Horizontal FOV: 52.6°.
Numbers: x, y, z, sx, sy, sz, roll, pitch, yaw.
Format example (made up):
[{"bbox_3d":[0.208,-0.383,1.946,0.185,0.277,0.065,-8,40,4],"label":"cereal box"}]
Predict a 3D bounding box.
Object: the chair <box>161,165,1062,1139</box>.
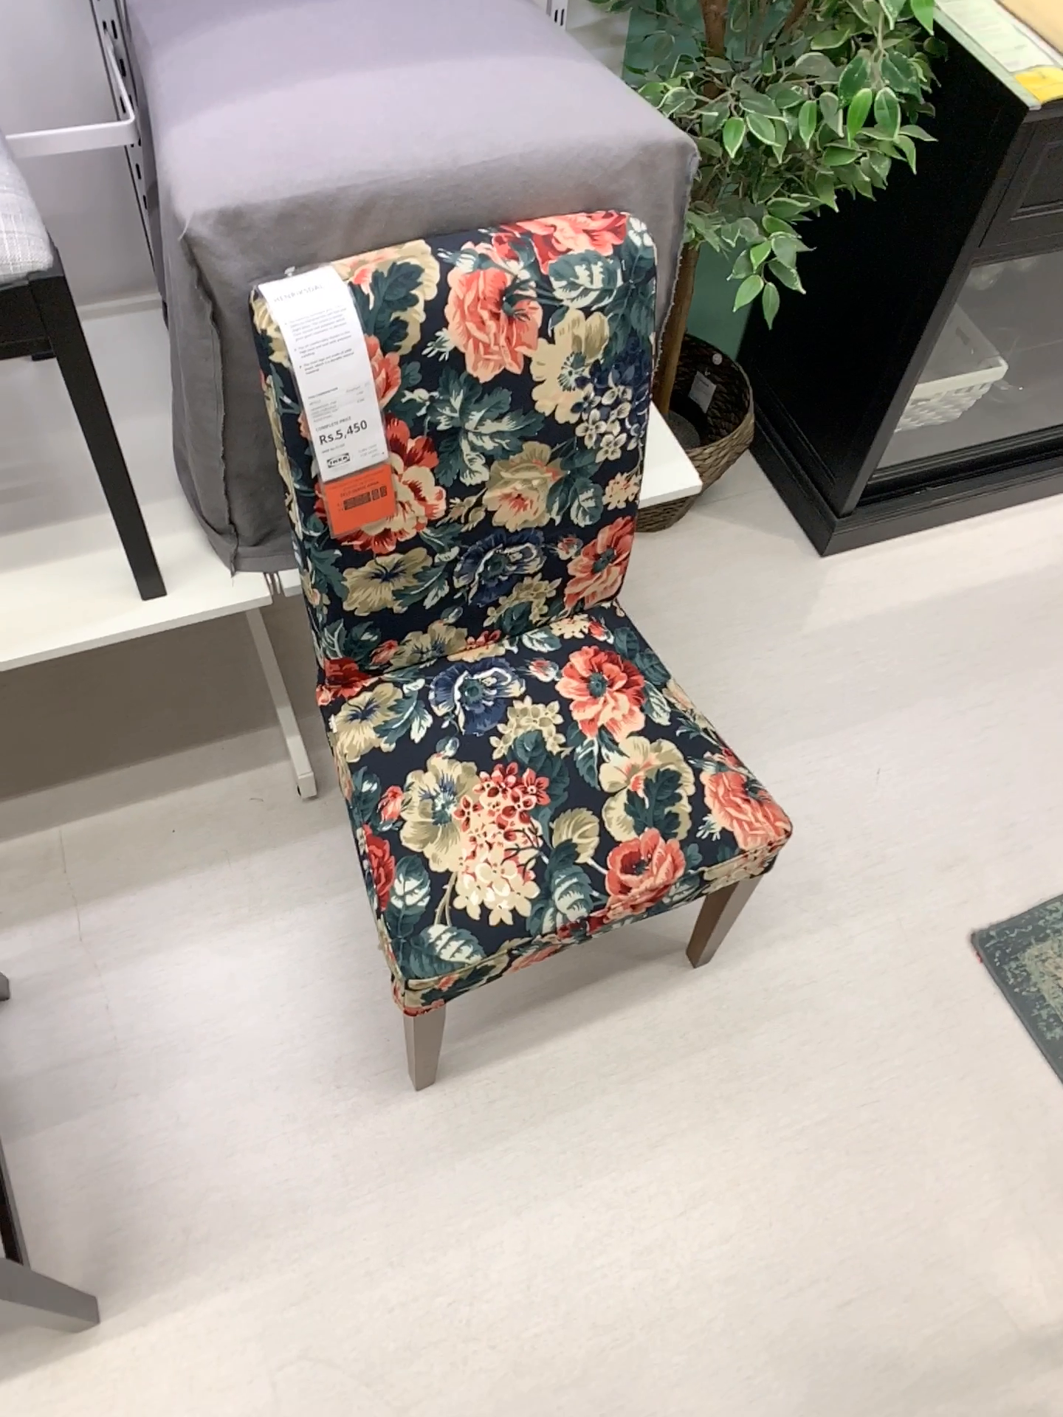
[{"bbox_3d":[0.010,0.002,1.247,0.560,0.888,0.601,-17,60,-16],"label":"chair"}]
